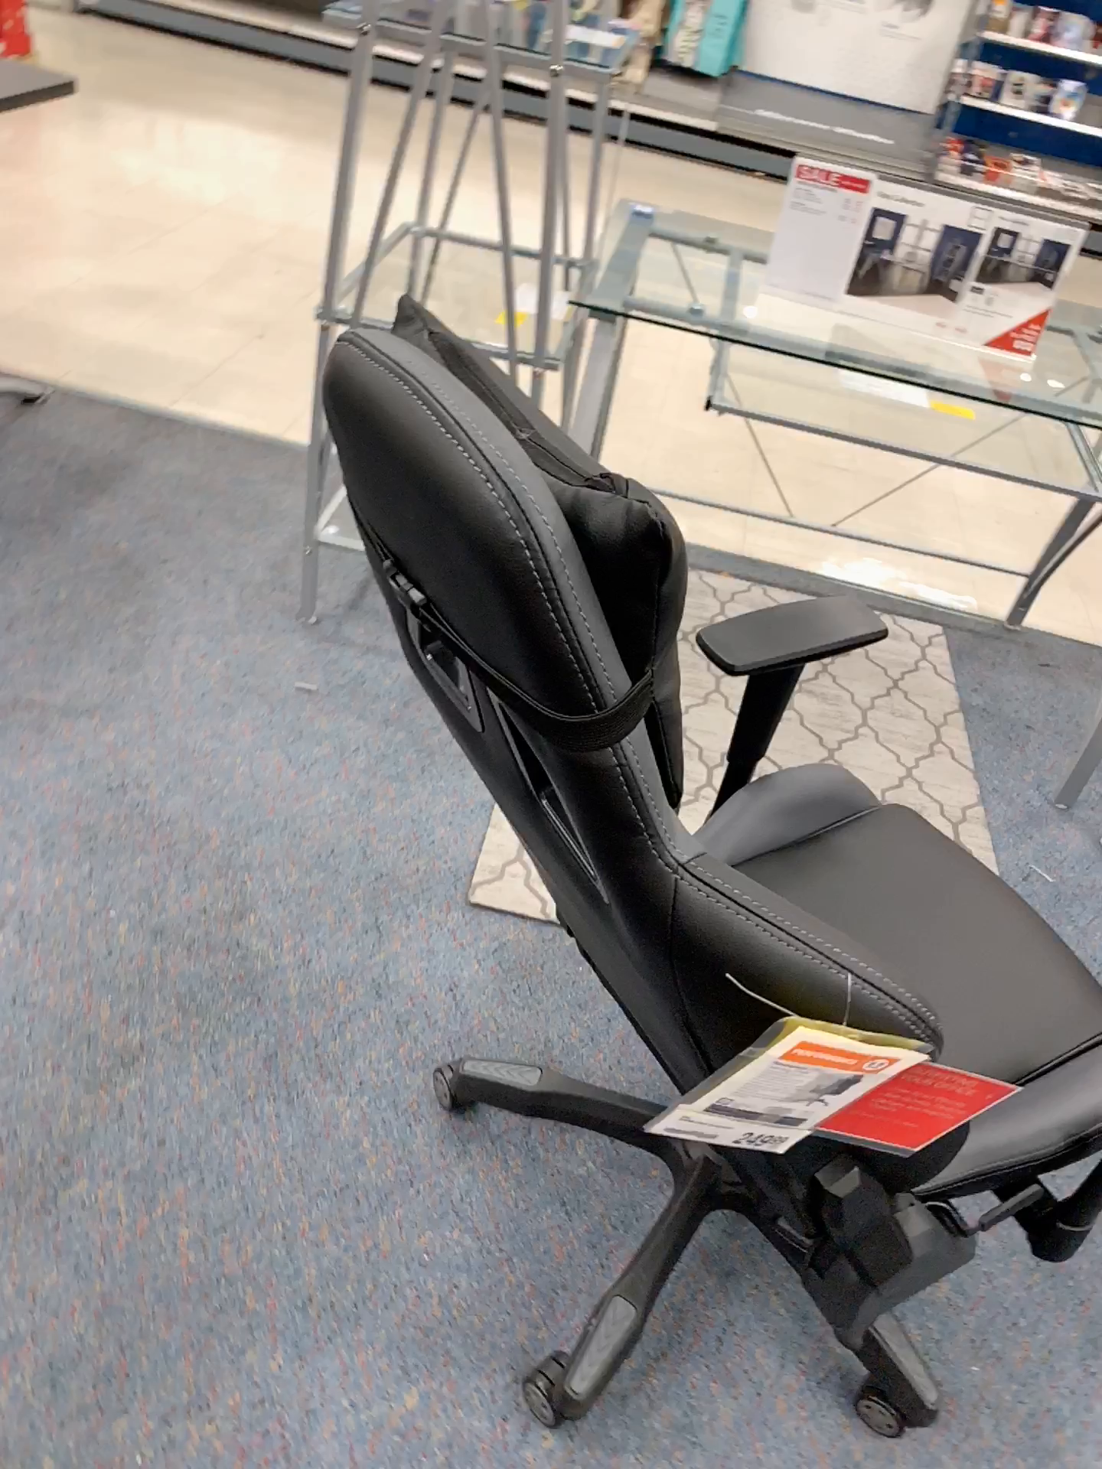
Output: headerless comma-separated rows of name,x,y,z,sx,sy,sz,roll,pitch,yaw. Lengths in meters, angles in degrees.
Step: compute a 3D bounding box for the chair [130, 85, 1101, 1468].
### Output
chair,0.220,0.132,1.037,0.913,1.061,0.788,-14,45,-30
